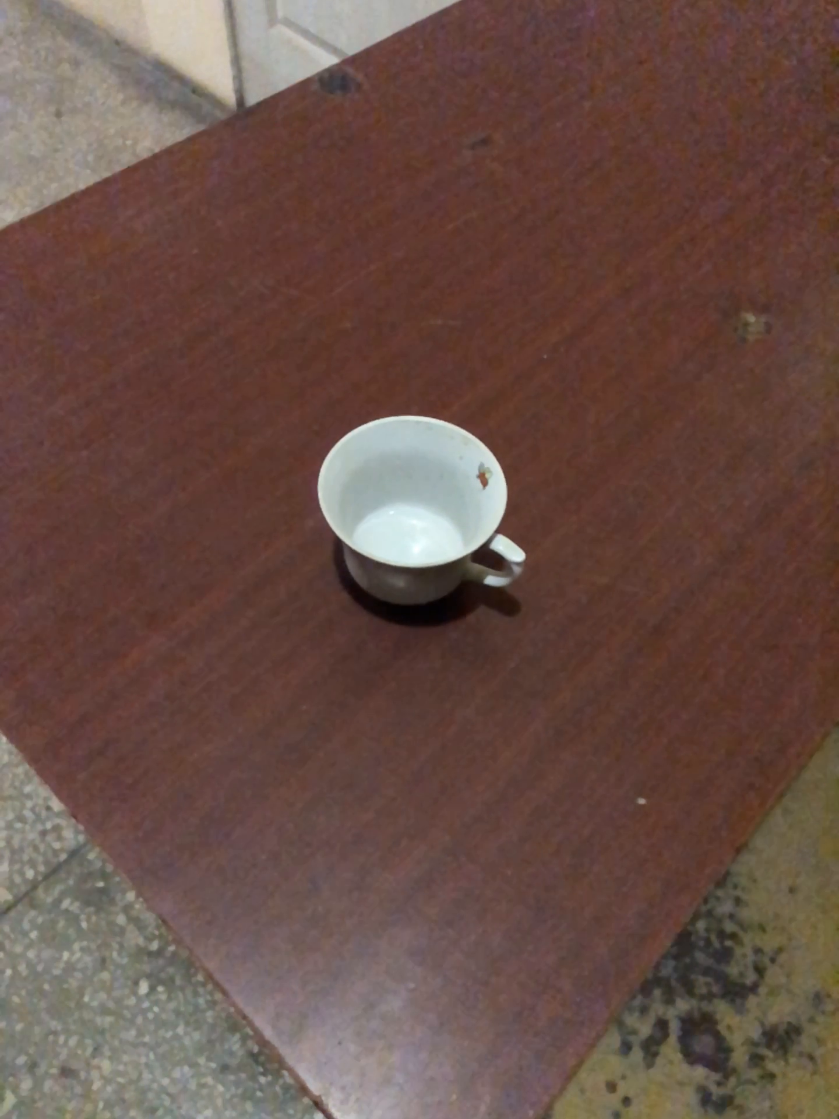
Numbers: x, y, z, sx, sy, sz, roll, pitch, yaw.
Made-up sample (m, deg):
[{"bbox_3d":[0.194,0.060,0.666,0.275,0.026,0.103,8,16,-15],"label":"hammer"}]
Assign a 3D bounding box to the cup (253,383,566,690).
[{"bbox_3d":[-0.004,-0.014,0.460,0.110,0.059,0.100,31,60,17],"label":"cup"}]
